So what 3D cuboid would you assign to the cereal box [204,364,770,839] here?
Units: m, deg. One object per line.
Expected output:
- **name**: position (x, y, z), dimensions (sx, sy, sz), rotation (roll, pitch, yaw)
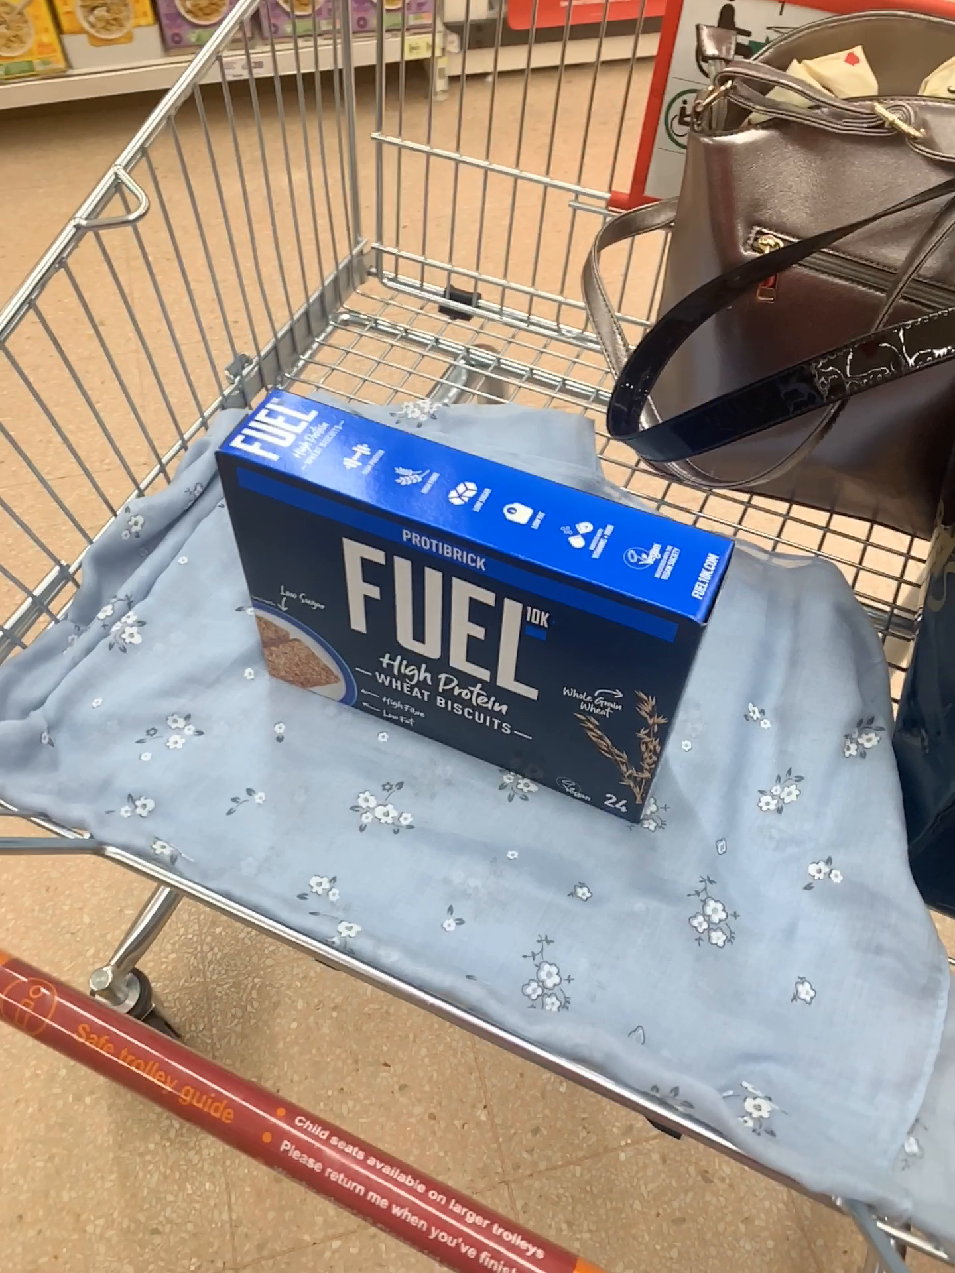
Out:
- **cereal box**: position (-0.002, -0.008, 0.521), dimensions (0.250, 0.208, 0.060), rotation (21, 57, 12)
